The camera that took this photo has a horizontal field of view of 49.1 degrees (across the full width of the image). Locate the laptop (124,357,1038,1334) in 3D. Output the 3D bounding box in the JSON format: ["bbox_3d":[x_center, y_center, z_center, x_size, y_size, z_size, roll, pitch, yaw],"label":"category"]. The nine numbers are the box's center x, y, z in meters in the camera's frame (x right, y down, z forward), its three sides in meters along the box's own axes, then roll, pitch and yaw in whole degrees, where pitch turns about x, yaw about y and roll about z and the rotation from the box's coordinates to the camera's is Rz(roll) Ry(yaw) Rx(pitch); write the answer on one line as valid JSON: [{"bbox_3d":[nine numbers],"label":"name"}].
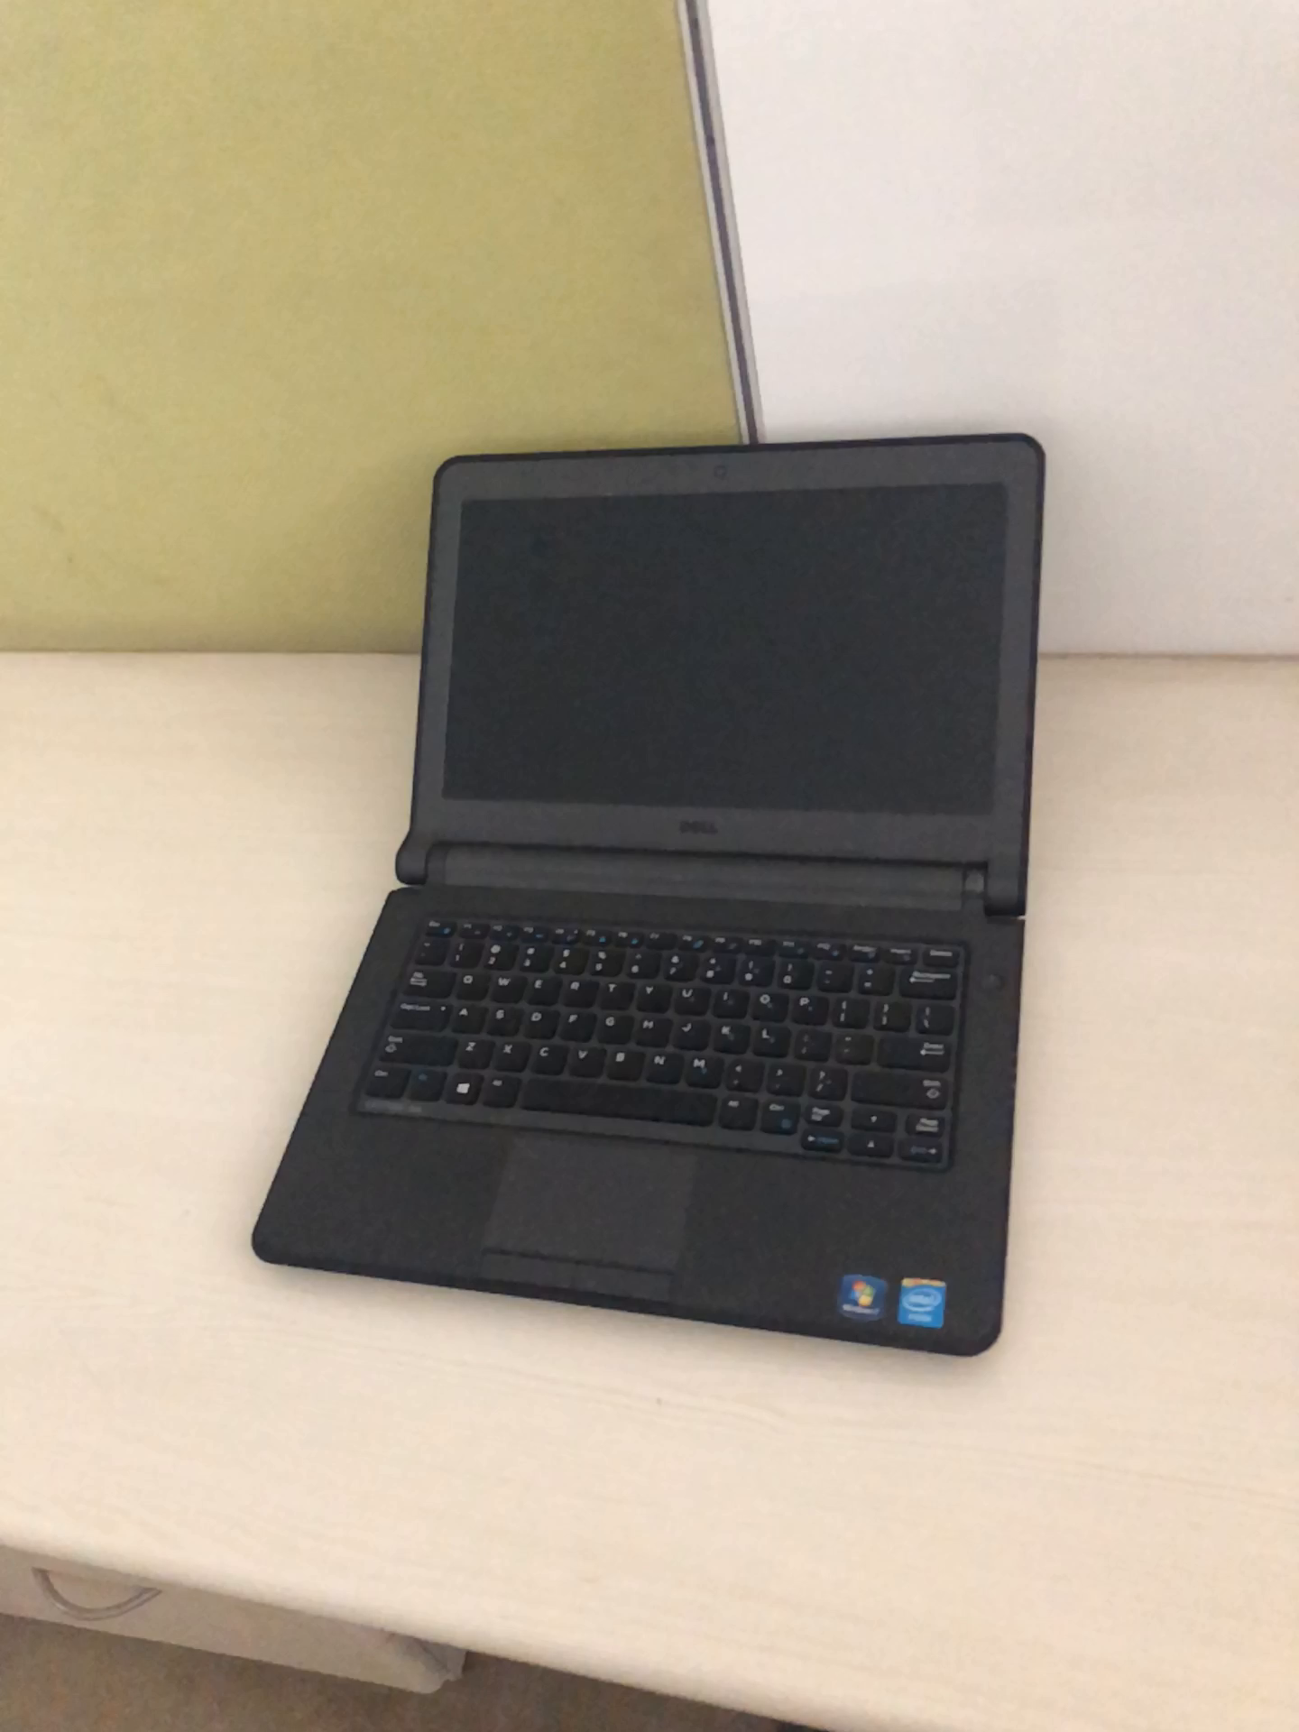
[{"bbox_3d":[0.005,-0.042,0.653,0.316,0.122,0.417,3,54,16],"label":"laptop"}]
